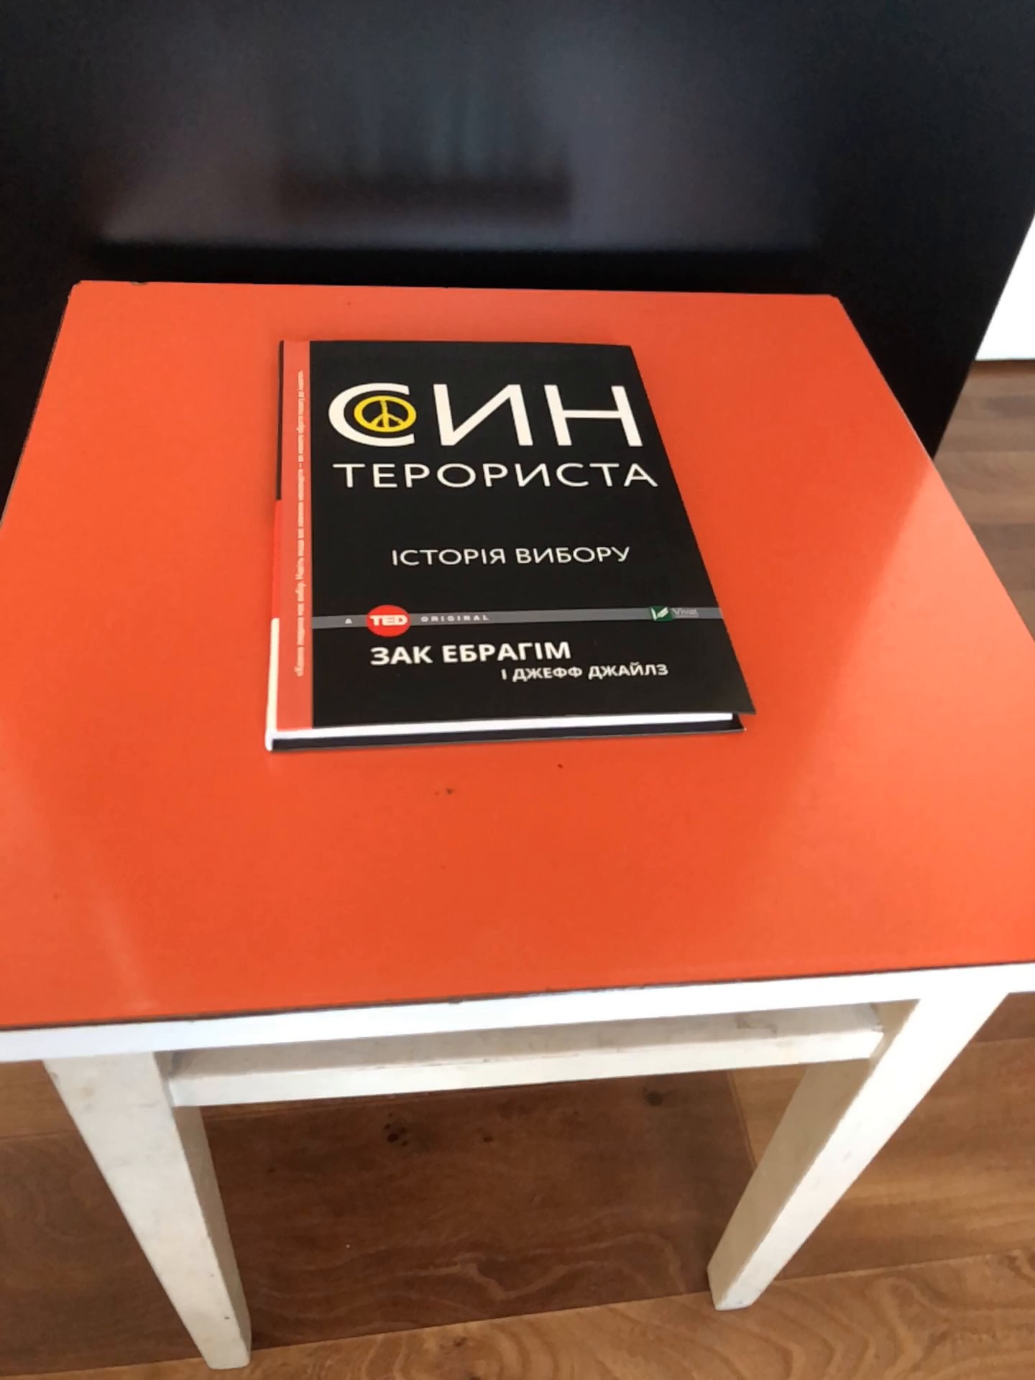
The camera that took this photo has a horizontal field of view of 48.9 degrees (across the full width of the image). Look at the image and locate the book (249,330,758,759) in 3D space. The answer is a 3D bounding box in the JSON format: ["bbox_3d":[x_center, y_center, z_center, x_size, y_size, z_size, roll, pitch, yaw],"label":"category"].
[{"bbox_3d":[-0.013,-0.061,0.383,0.140,0.016,0.198,-2,48,-8],"label":"book"}]
